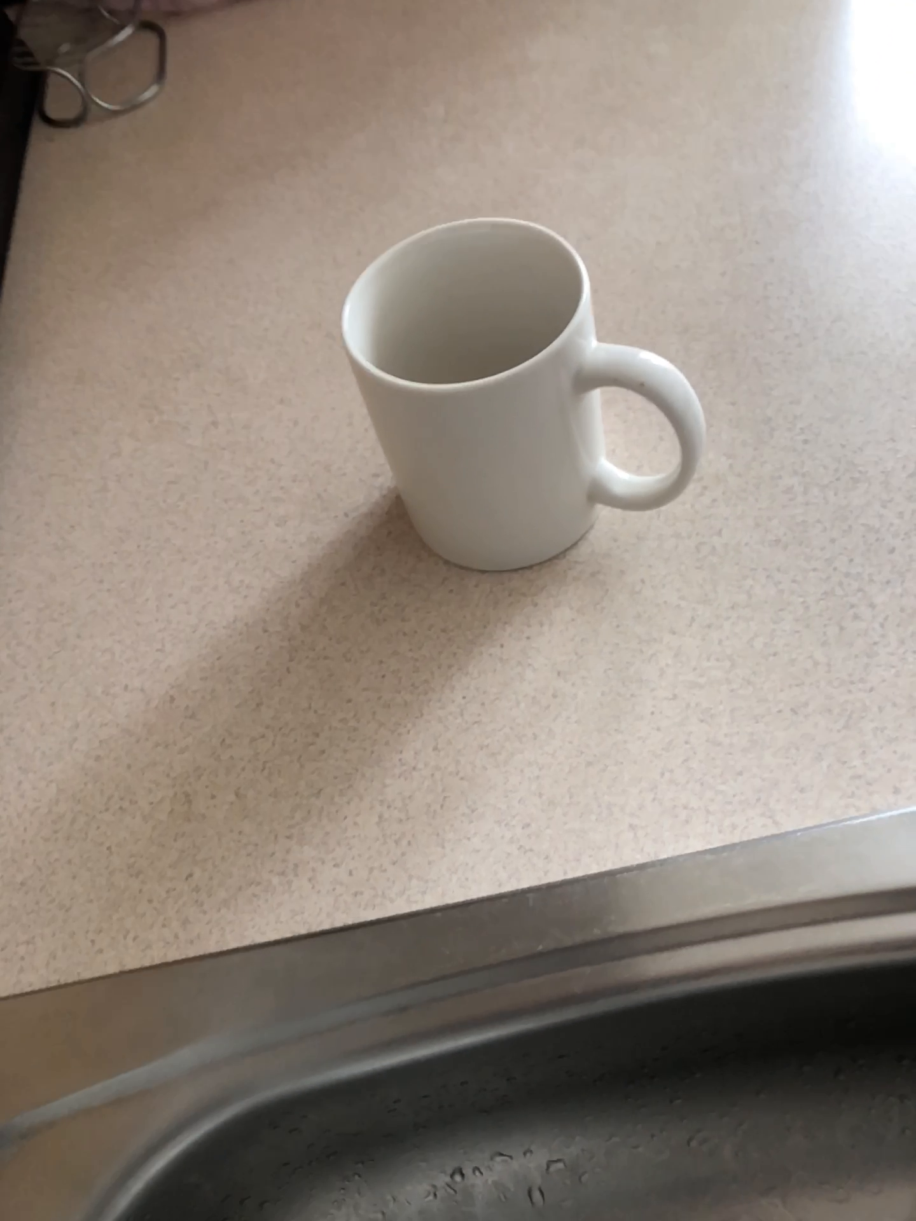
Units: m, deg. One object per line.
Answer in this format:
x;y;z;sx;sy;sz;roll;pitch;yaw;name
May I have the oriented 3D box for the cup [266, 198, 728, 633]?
0.020;-0.068;0.351;0.120;0.099;0.084;16;62;21;cup
